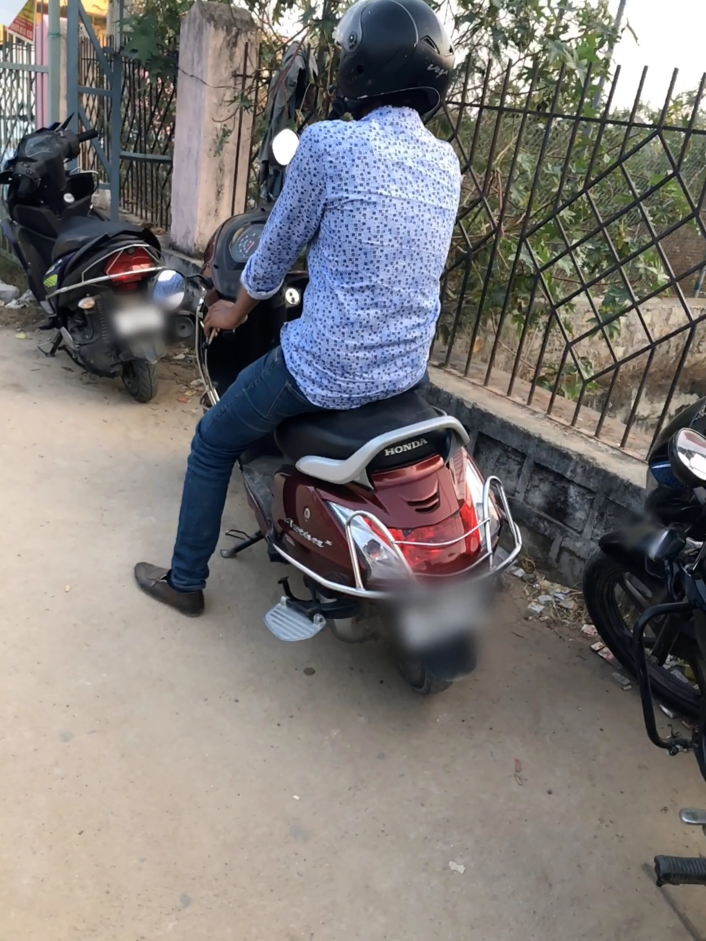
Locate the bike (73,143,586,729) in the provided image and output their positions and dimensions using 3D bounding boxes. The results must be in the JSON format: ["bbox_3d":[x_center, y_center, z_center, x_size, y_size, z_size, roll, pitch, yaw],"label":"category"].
[{"bbox_3d":[-0.263,-0.235,2.135,0.577,0.963,1.493,-6,30,-32],"label":"bike"}]
